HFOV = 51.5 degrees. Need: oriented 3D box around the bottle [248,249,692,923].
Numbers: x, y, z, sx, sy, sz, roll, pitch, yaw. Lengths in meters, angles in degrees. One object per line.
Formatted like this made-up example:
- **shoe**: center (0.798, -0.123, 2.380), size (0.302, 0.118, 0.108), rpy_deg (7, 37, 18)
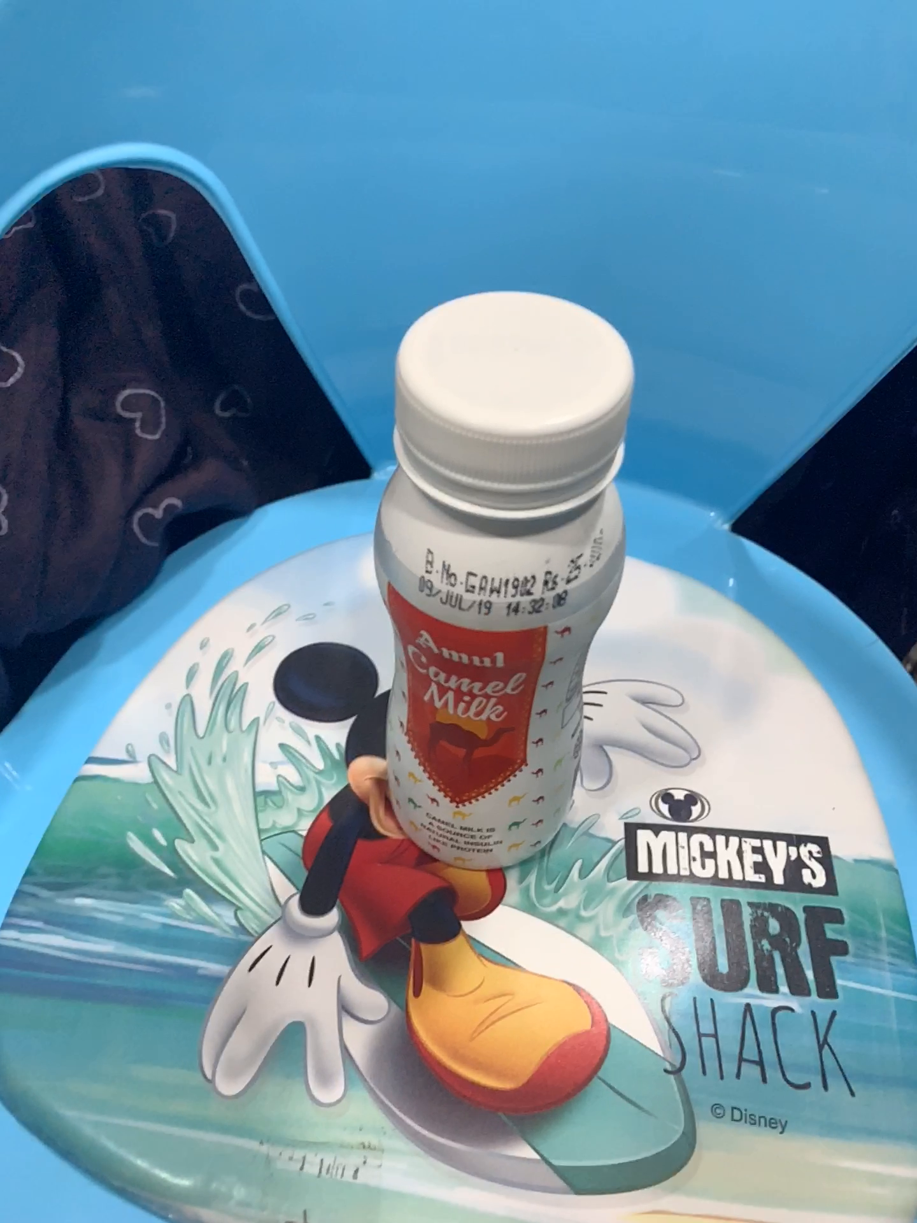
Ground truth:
- **bottle**: center (0.004, 0.001, 0.207), size (0.060, 0.130, 0.060), rpy_deg (1, 45, -1)
